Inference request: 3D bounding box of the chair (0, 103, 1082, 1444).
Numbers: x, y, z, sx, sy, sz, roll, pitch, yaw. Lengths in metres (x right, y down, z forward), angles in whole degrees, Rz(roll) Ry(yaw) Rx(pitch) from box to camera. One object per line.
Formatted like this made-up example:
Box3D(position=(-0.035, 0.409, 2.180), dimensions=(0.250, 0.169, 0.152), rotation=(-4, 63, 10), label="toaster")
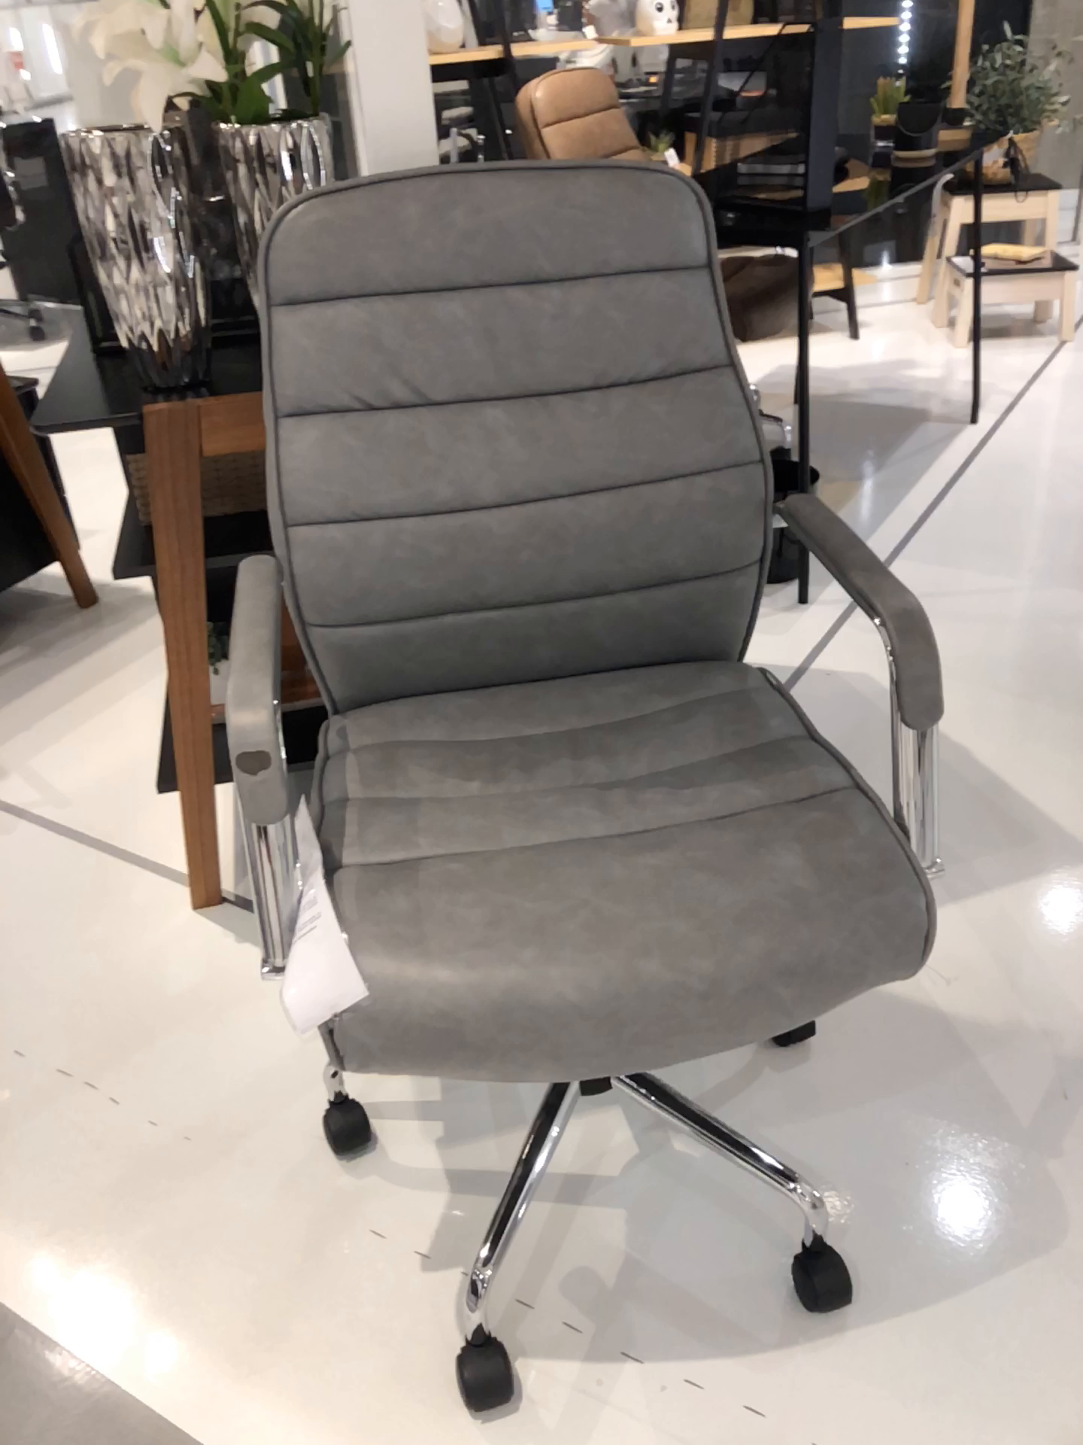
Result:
Box3D(position=(0.022, 0.046, 1.068), dimensions=(0.600, 0.992, 0.554), rotation=(-7, 31, -5), label="chair")
